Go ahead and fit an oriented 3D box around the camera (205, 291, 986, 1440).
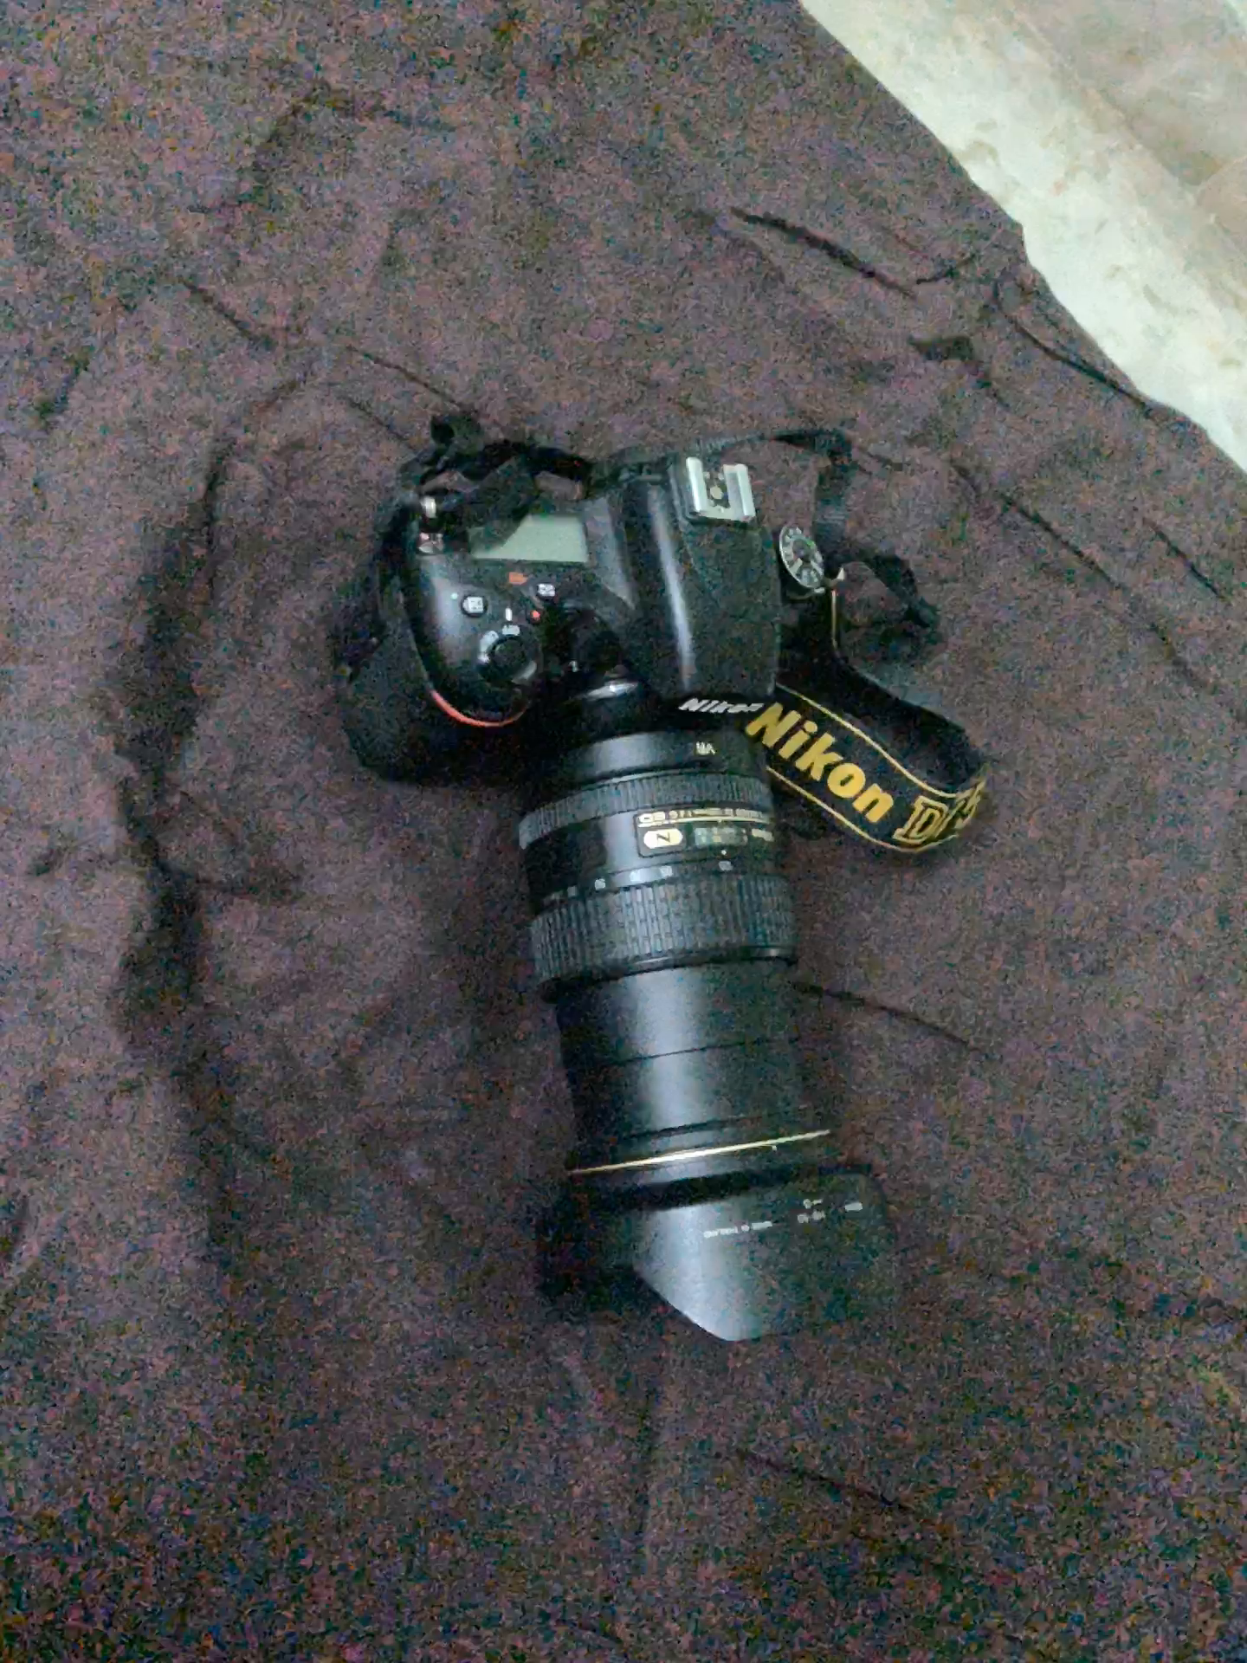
[{"bbox_3d":[-0.015,0.004,0.387,0.161,0.100,0.278,-5,79,-32],"label":"camera"}]
